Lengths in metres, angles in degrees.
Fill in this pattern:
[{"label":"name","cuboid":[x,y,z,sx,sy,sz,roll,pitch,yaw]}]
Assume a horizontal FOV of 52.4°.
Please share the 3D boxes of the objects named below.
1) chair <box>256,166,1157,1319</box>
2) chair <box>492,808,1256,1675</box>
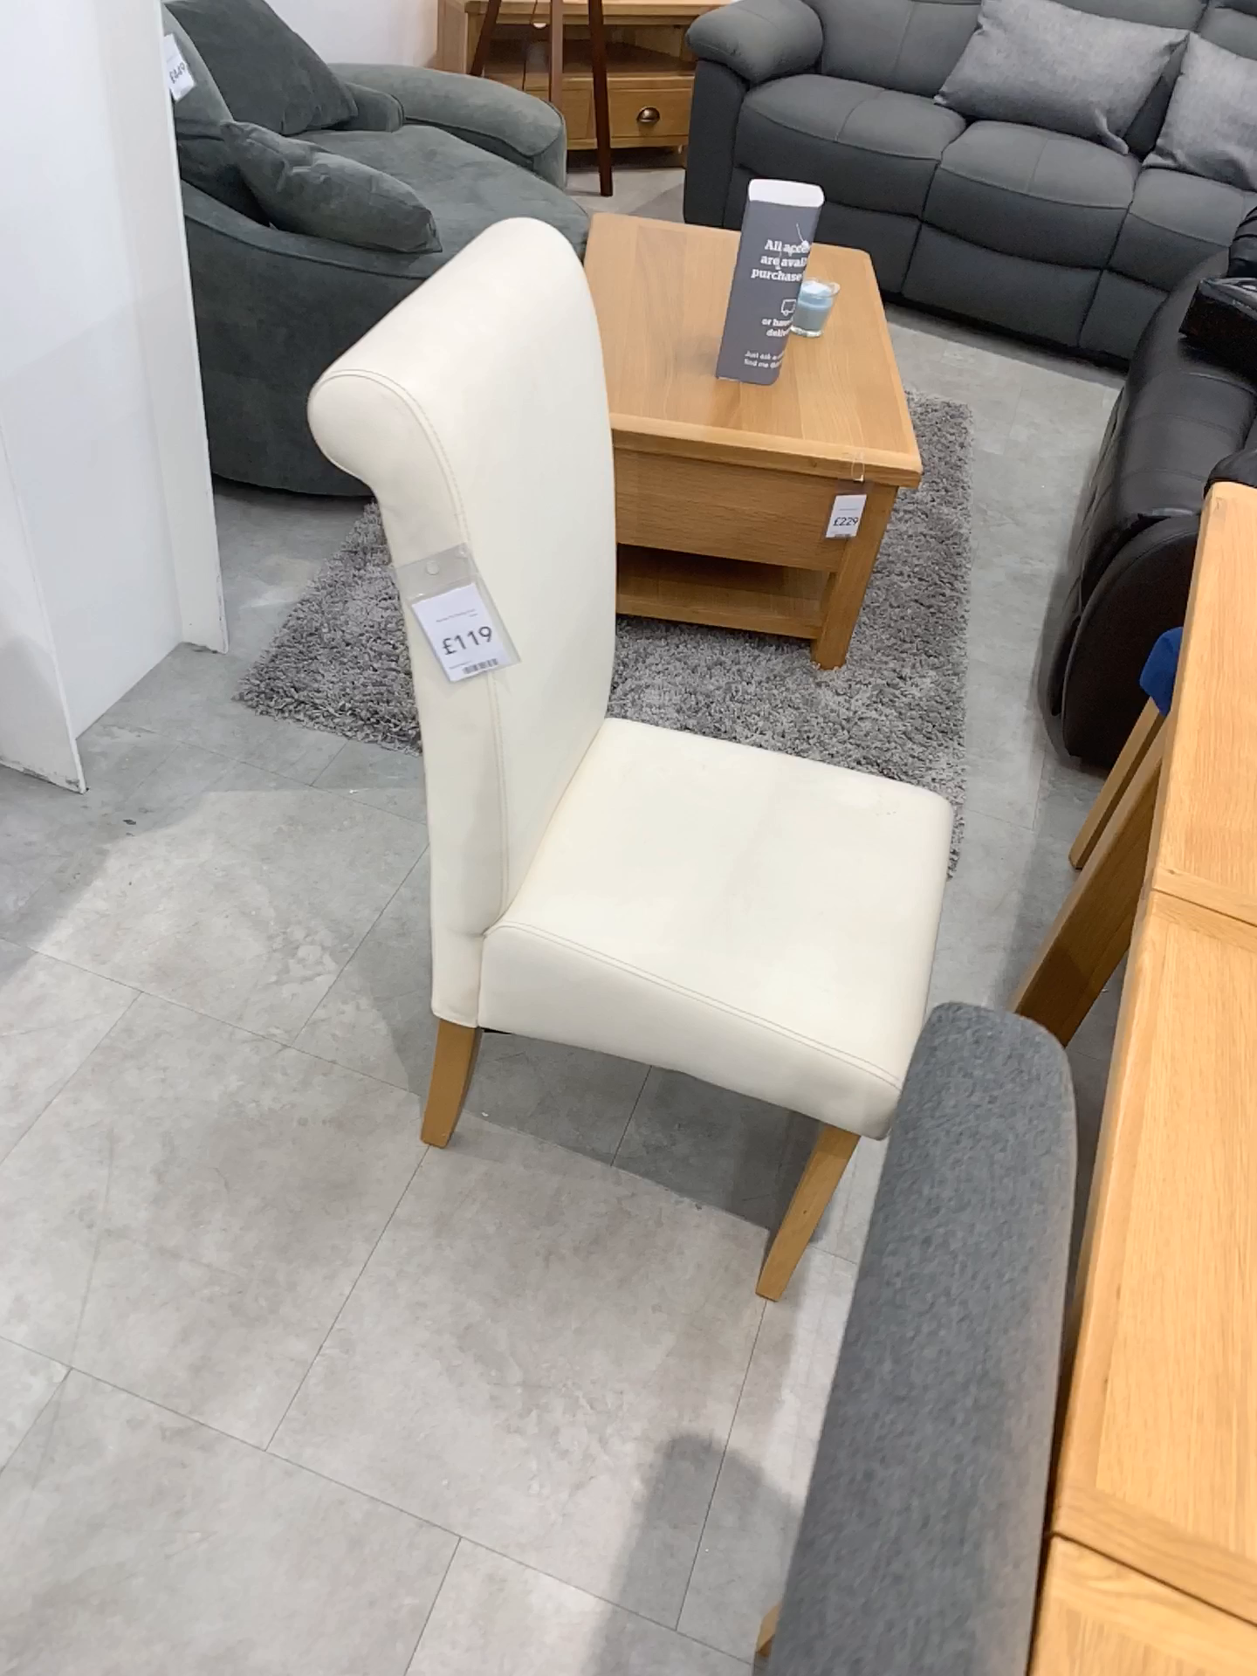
[{"label":"chair","cuboid":[0.051,-0.052,1.310,0.592,0.935,0.518,17,44,7]},{"label":"chair","cuboid":[0.304,0.552,0.803,0.582,0.905,0.487,19,45,9]}]
